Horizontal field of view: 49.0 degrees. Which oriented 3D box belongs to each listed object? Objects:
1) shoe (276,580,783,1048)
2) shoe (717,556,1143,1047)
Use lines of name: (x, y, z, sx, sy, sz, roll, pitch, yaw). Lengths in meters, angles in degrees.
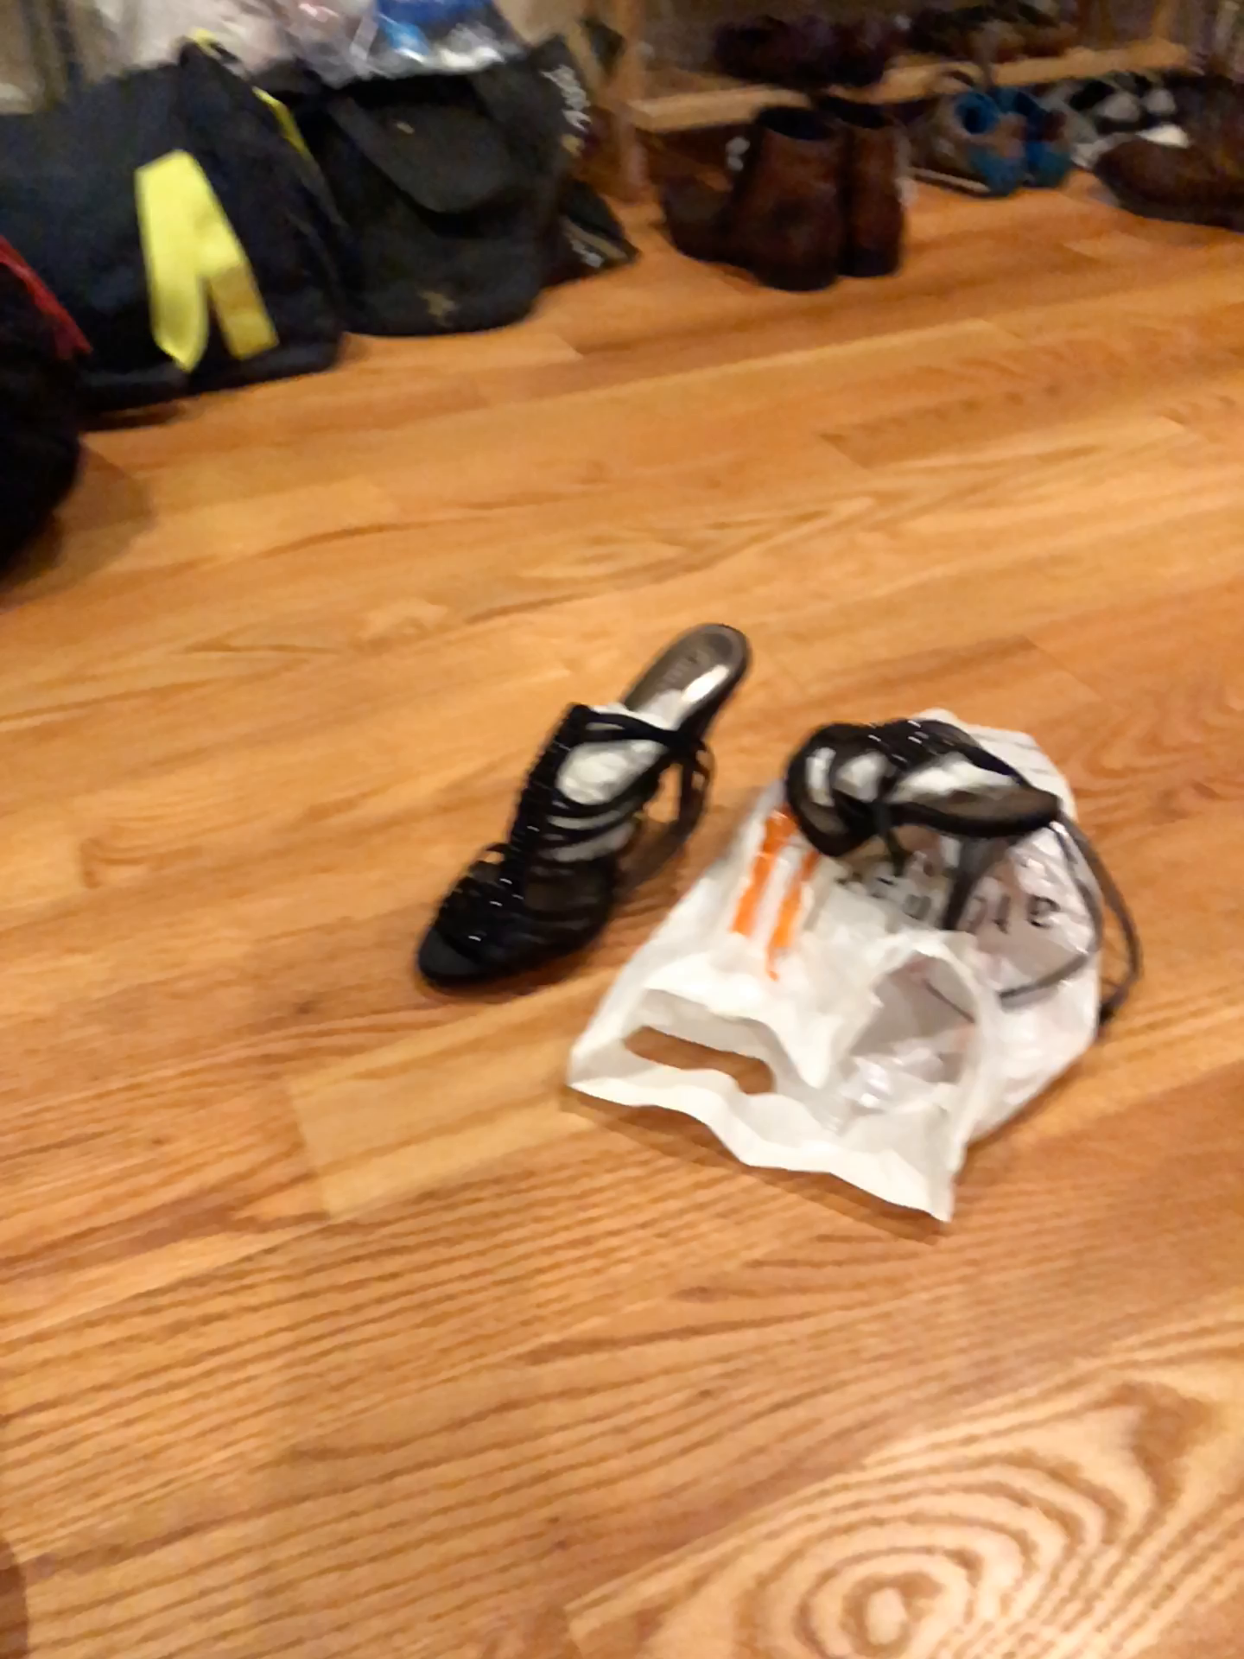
shoe: (-0.035, -0.015, 0.644, 0.218, 0.112, 0.090, -30, 46, -31)
shoe: (0.130, -0.024, 0.648, 0.092, 0.112, 0.218, -13, 39, -14)
